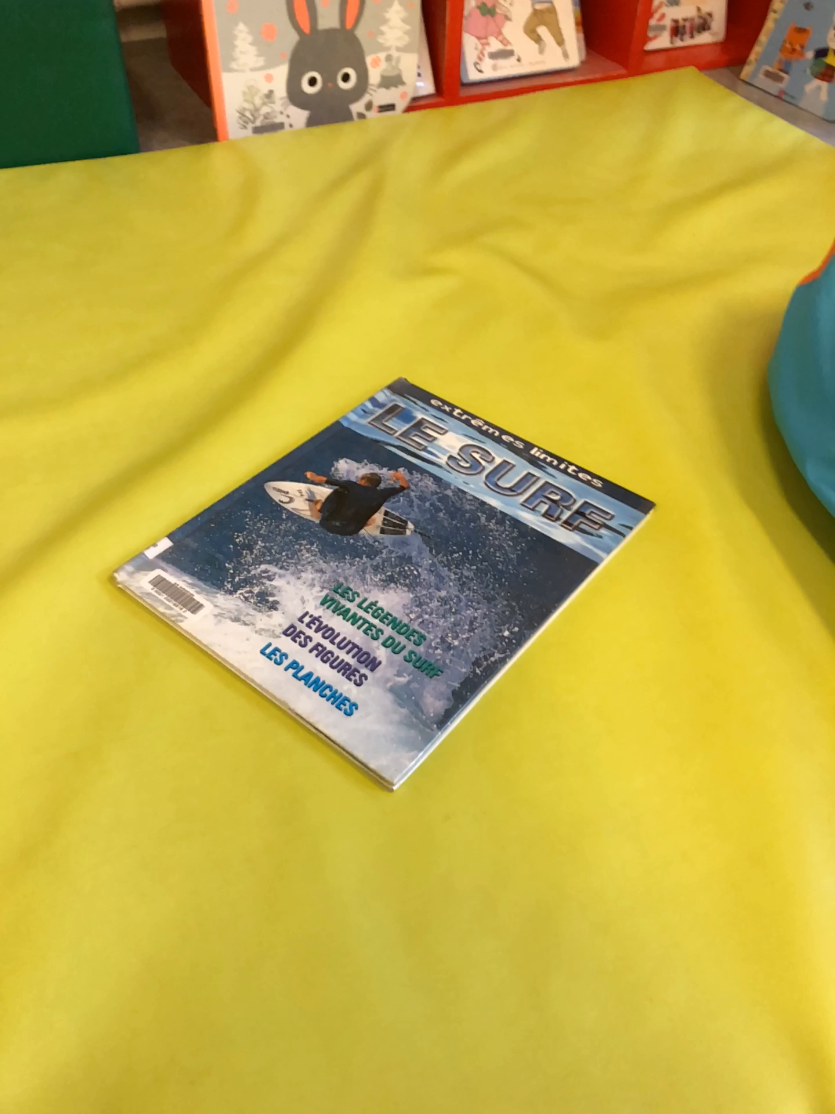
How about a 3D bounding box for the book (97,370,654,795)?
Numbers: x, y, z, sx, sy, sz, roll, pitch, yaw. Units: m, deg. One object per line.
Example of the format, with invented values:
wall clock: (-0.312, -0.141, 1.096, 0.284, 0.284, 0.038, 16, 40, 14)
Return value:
book: (-0.018, -0.012, 0.580, 0.226, 0.016, 0.274, 30, 51, 25)
